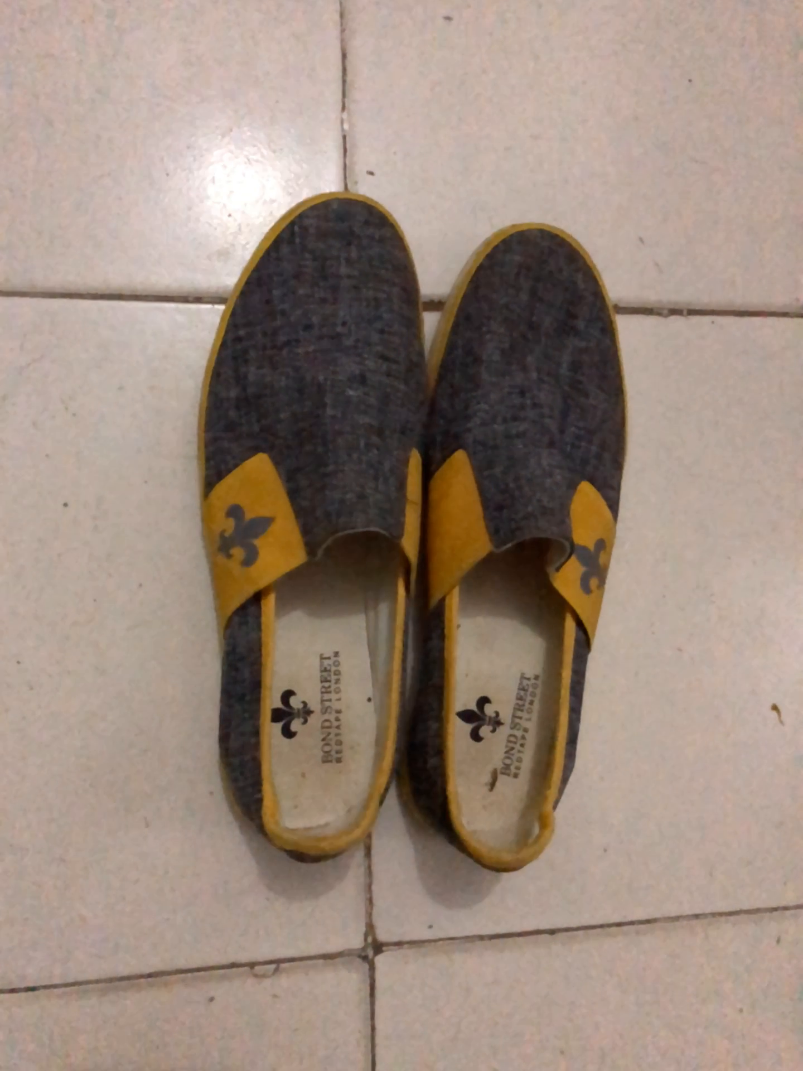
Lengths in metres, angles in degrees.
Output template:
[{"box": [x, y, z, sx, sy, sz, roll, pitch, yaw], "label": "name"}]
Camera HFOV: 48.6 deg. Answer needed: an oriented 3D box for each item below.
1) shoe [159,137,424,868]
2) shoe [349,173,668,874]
[{"box": [-0.050, -0.012, 0.409, 0.100, 0.100, 0.290, 2, 86, -10], "label": "shoe"}, {"box": [0.042, -0.002, 0.390, 0.090, 0.100, 0.260, 7, 85, -10], "label": "shoe"}]
